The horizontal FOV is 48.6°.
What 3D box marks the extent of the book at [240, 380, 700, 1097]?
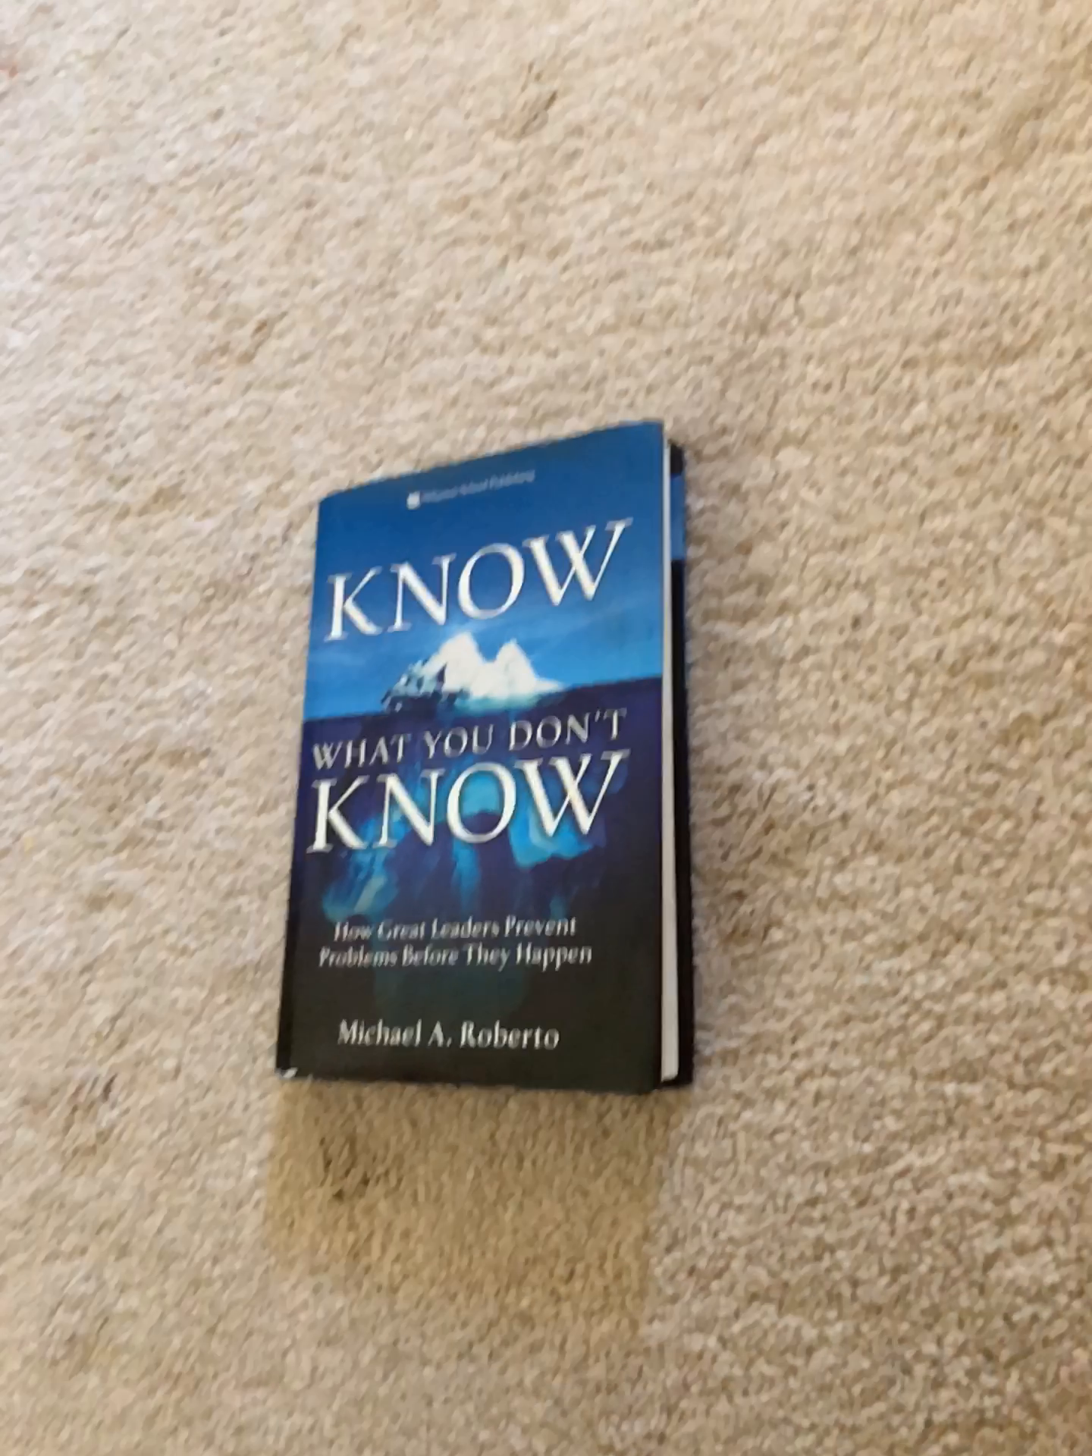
[{"bbox_3d":[-0.028,0.006,0.441,0.160,0.034,0.240,-6,73,26],"label":"book"}]
